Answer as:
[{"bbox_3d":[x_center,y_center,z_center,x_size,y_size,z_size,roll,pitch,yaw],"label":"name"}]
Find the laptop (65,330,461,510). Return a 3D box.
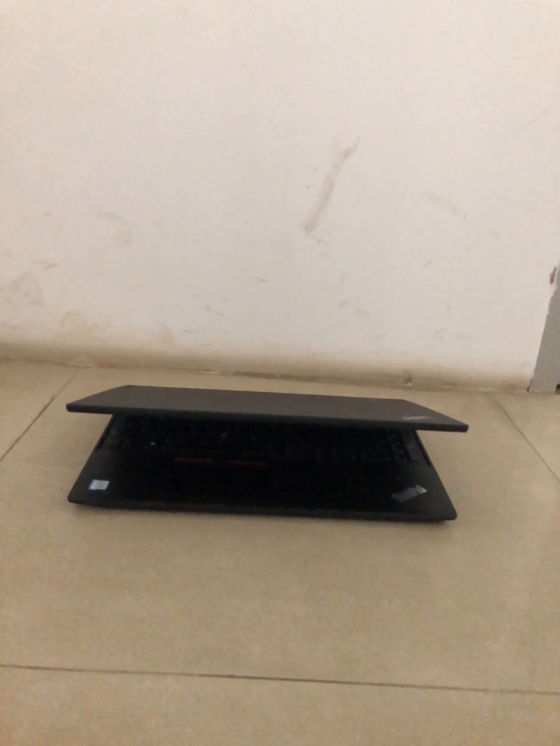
[{"bbox_3d":[-0.019,0.037,0.658,0.349,0.071,0.237,2,24,-2],"label":"laptop"}]
